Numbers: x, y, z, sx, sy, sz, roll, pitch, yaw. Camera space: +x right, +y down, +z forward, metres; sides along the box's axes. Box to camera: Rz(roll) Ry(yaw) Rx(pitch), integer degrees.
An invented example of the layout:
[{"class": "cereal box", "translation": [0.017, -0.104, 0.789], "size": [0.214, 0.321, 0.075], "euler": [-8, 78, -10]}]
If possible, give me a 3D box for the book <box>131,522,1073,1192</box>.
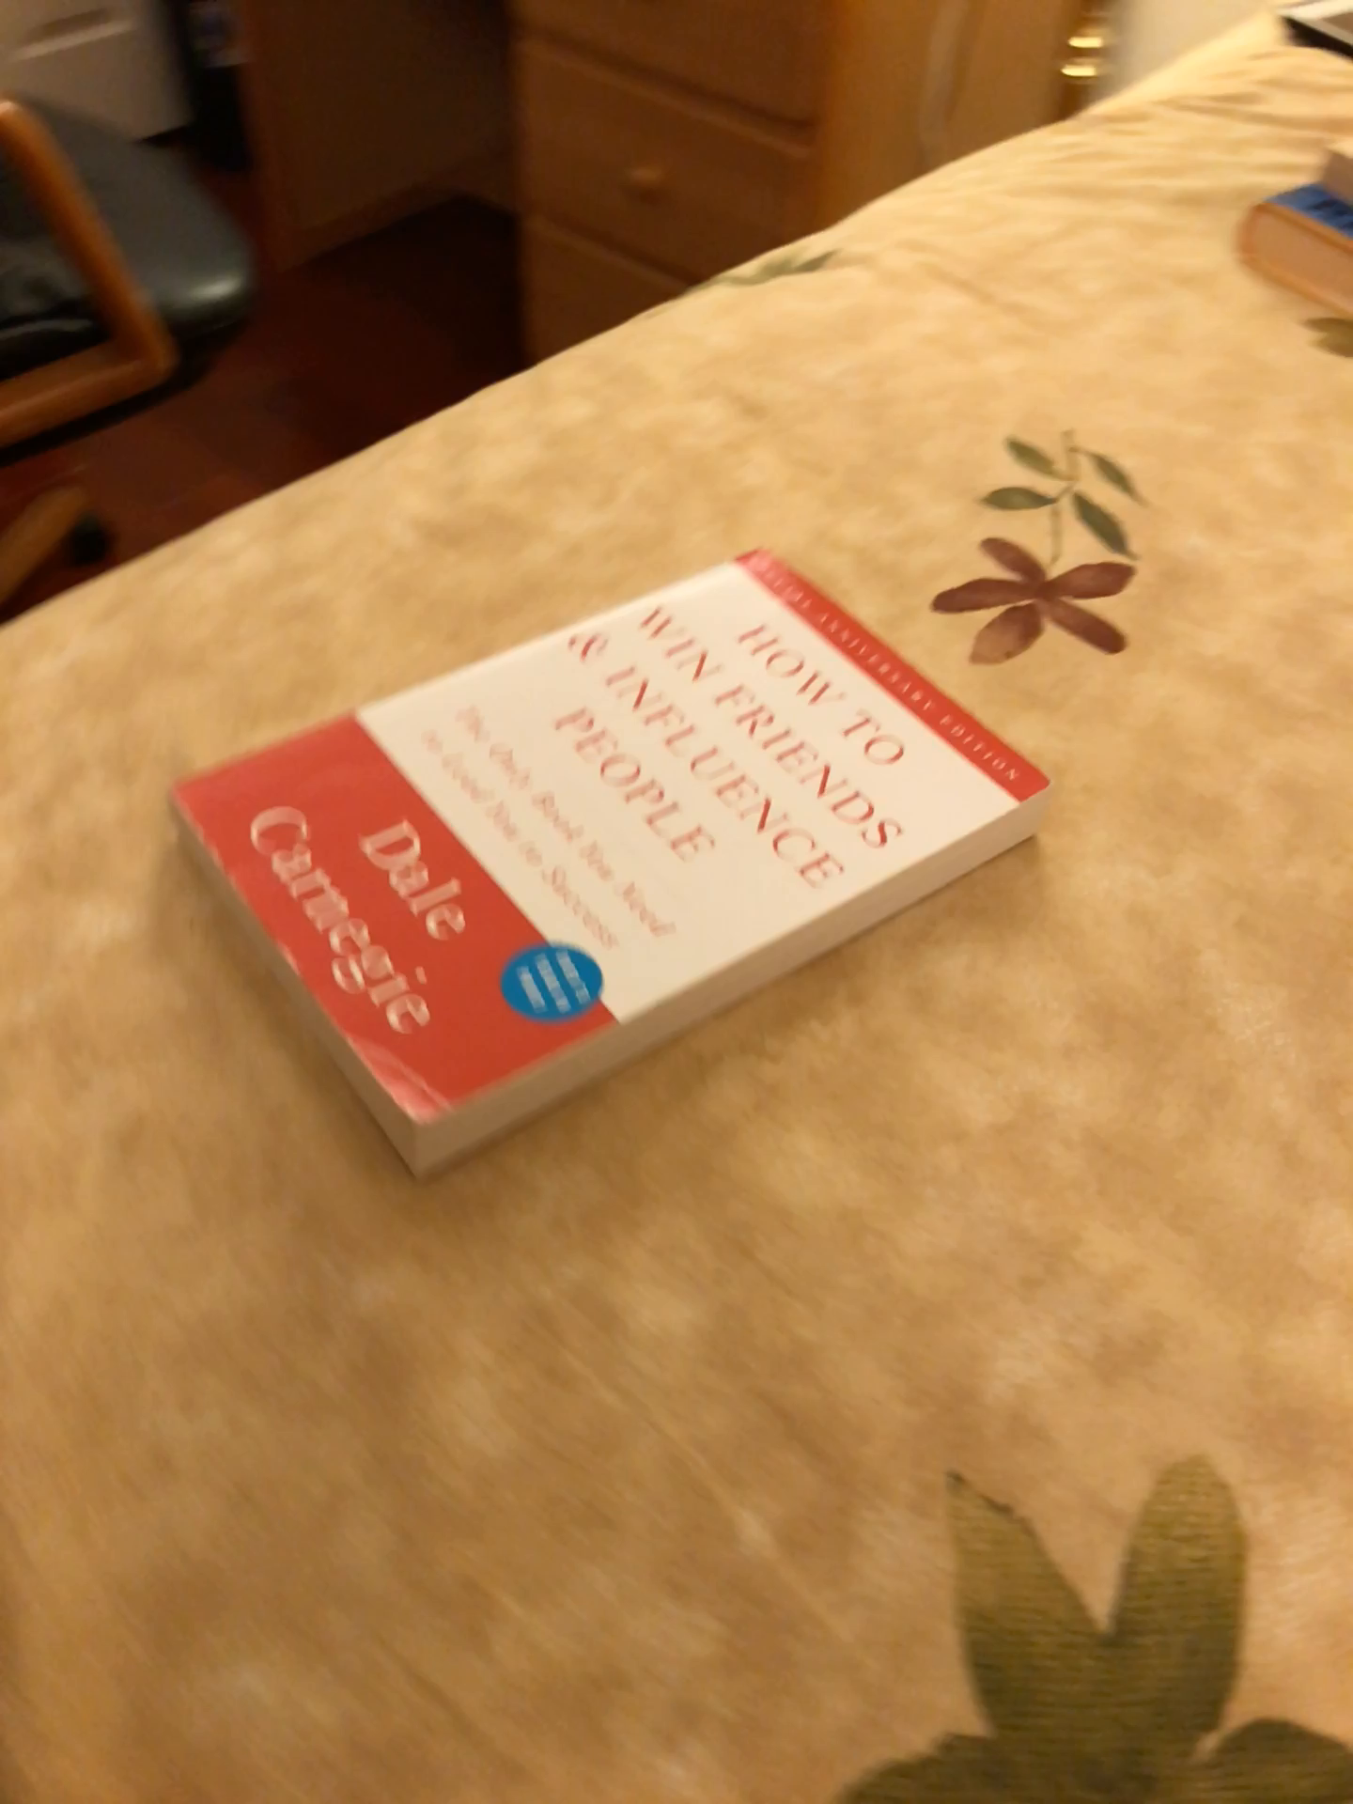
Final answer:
[{"class": "book", "translation": [-0.019, -0.031, 0.425], "size": [0.221, 0.020, 0.150], "euler": [-28, 55, -25]}]
